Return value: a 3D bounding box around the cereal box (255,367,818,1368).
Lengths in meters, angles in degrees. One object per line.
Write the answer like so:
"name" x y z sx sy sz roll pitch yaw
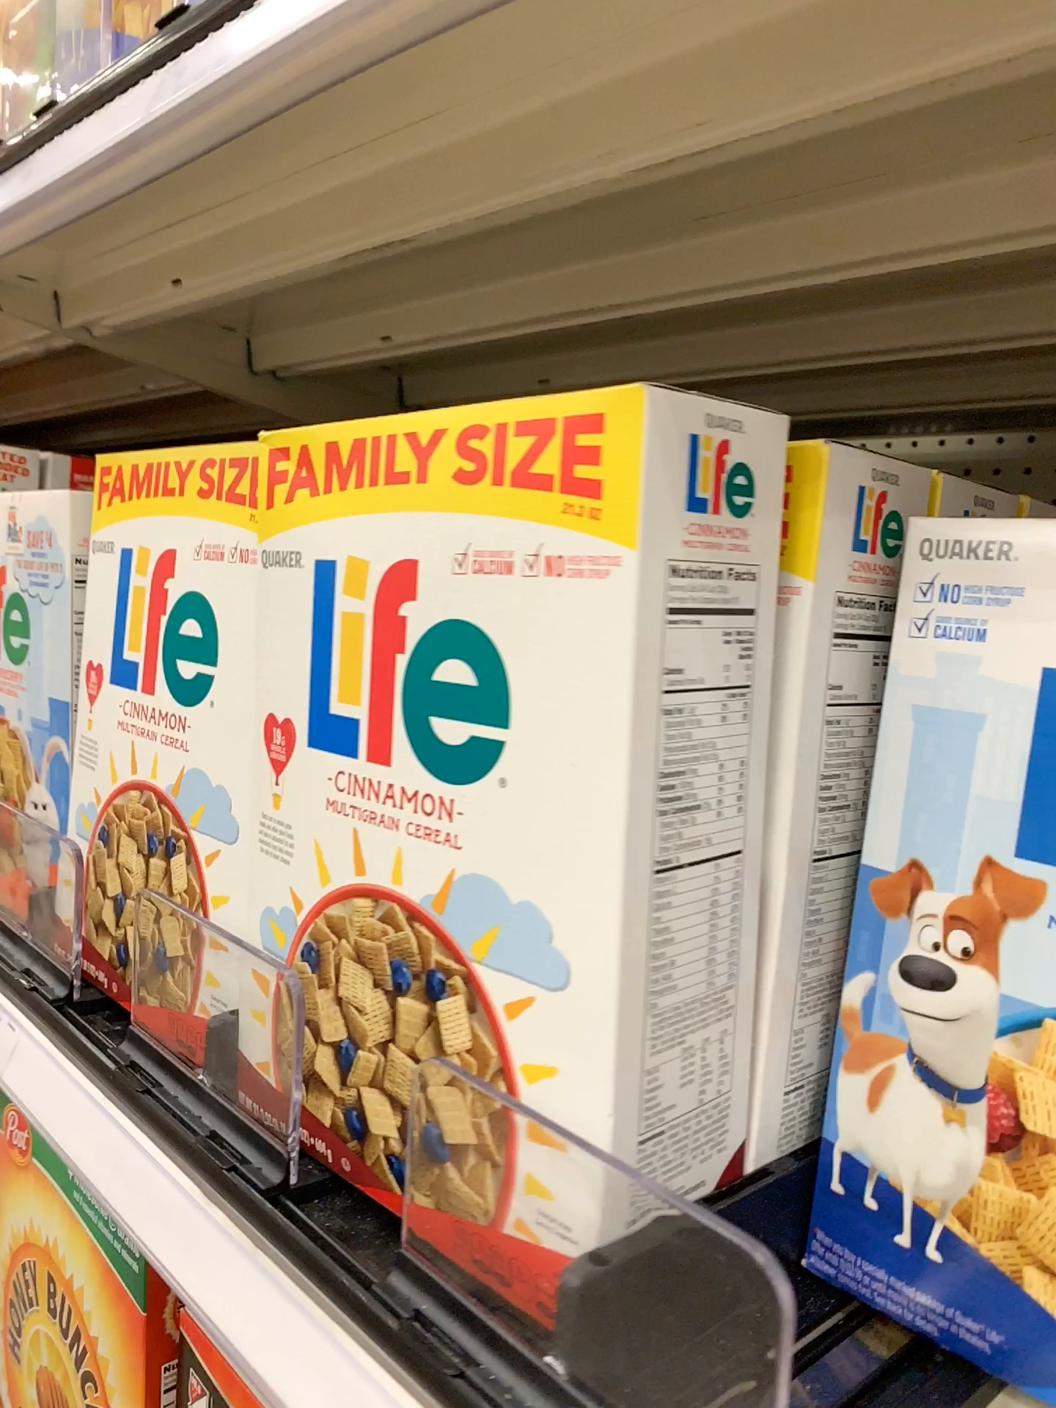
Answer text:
"cereal box" -0.012 0.035 0.372 0.070 0.260 0.190 -1 7 -41
